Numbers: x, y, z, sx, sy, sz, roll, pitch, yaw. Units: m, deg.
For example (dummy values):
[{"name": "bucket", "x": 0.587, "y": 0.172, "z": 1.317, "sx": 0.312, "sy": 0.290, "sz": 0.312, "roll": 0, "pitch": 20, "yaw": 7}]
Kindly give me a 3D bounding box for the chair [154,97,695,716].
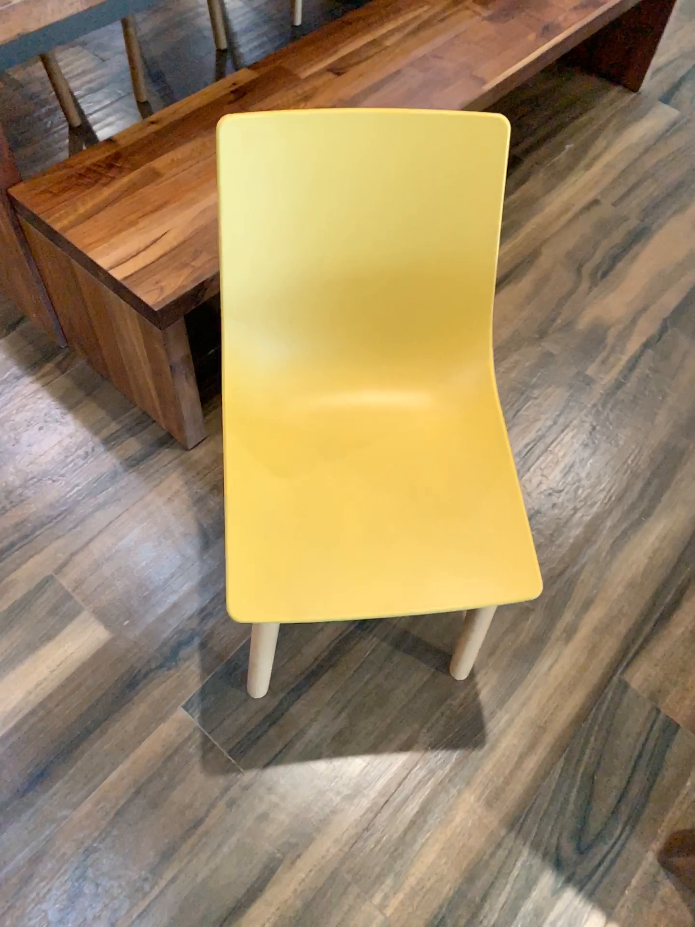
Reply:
[{"name": "chair", "x": 0.030, "y": -0.013, "z": 0.975, "sx": 0.450, "sy": 0.716, "sz": 0.503, "roll": -4, "pitch": 59, "yaw": -7}]
